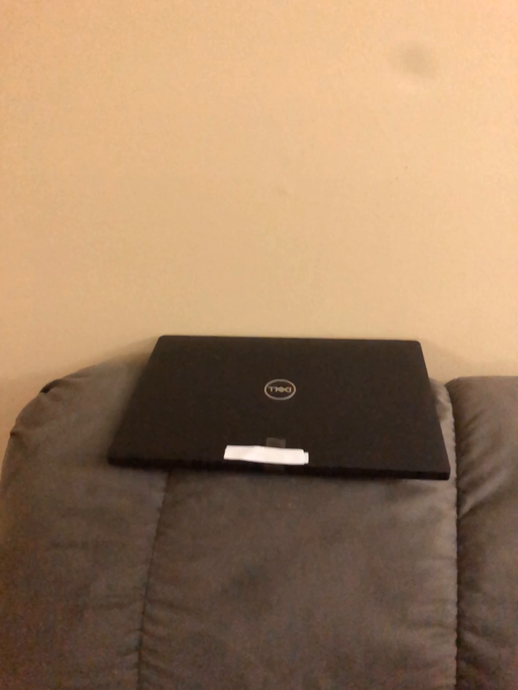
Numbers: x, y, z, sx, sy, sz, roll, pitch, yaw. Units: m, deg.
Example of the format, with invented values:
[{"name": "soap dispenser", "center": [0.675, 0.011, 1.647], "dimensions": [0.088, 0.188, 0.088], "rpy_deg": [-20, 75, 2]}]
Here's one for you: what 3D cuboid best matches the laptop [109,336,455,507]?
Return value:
[{"name": "laptop", "center": [0.026, 0.069, 0.630], "dimensions": [0.326, 0.030, 0.215], "rpy_deg": [2, 34, 8]}]
